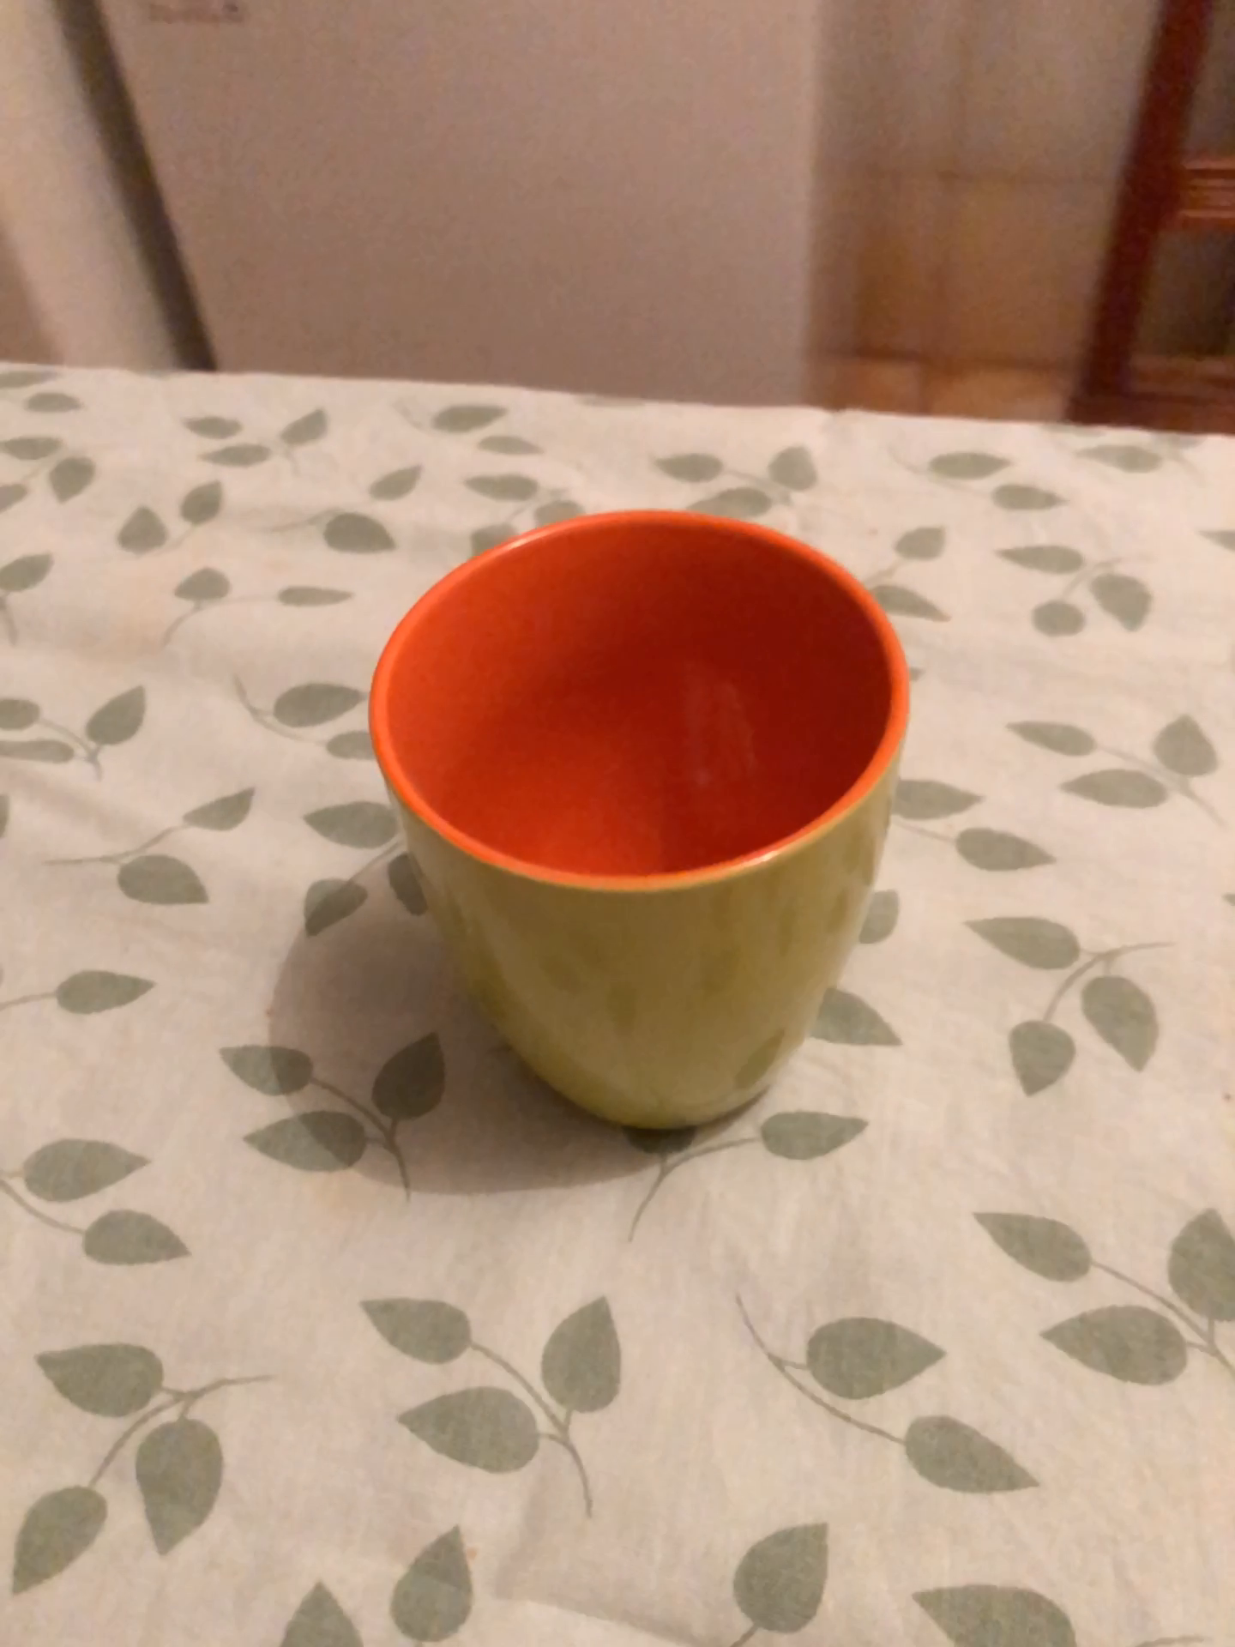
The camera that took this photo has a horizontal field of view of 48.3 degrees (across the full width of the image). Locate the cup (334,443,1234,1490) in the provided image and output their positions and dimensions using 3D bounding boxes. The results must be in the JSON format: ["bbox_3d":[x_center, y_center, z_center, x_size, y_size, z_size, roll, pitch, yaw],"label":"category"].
[{"bbox_3d":[0.031,0.018,0.231,0.090,0.089,0.120,-33,55,-22],"label":"cup"}]
